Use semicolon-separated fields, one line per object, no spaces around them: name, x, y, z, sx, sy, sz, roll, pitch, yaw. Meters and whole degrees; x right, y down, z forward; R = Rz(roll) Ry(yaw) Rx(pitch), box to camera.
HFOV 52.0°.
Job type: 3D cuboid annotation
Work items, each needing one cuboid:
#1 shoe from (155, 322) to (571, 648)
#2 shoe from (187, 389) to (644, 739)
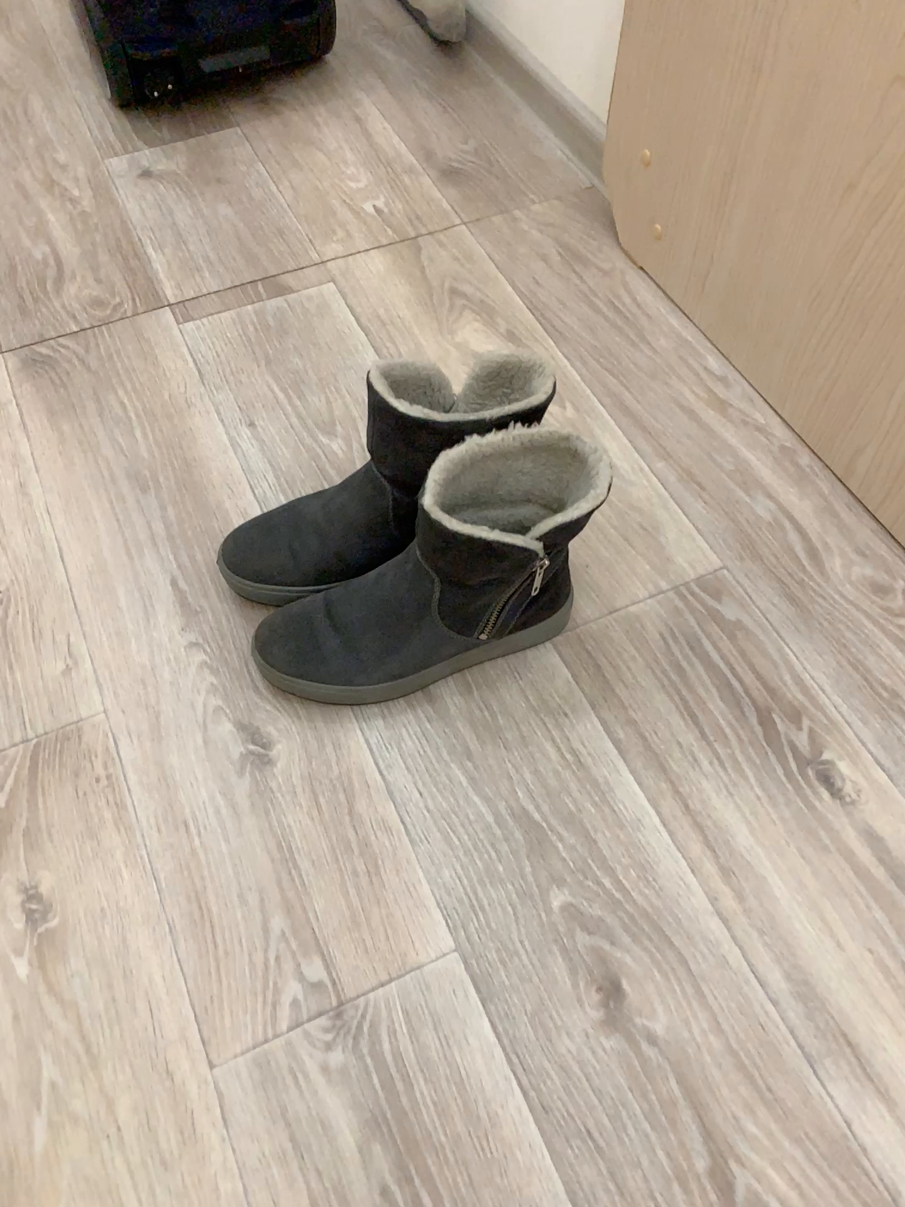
shoe;-0.063;-0.087;0.714;0.270;0.179;0.100;-14;58;-10
shoe;-0.024;-0.024;0.654;0.270;0.169;0.100;-16;58;-10
